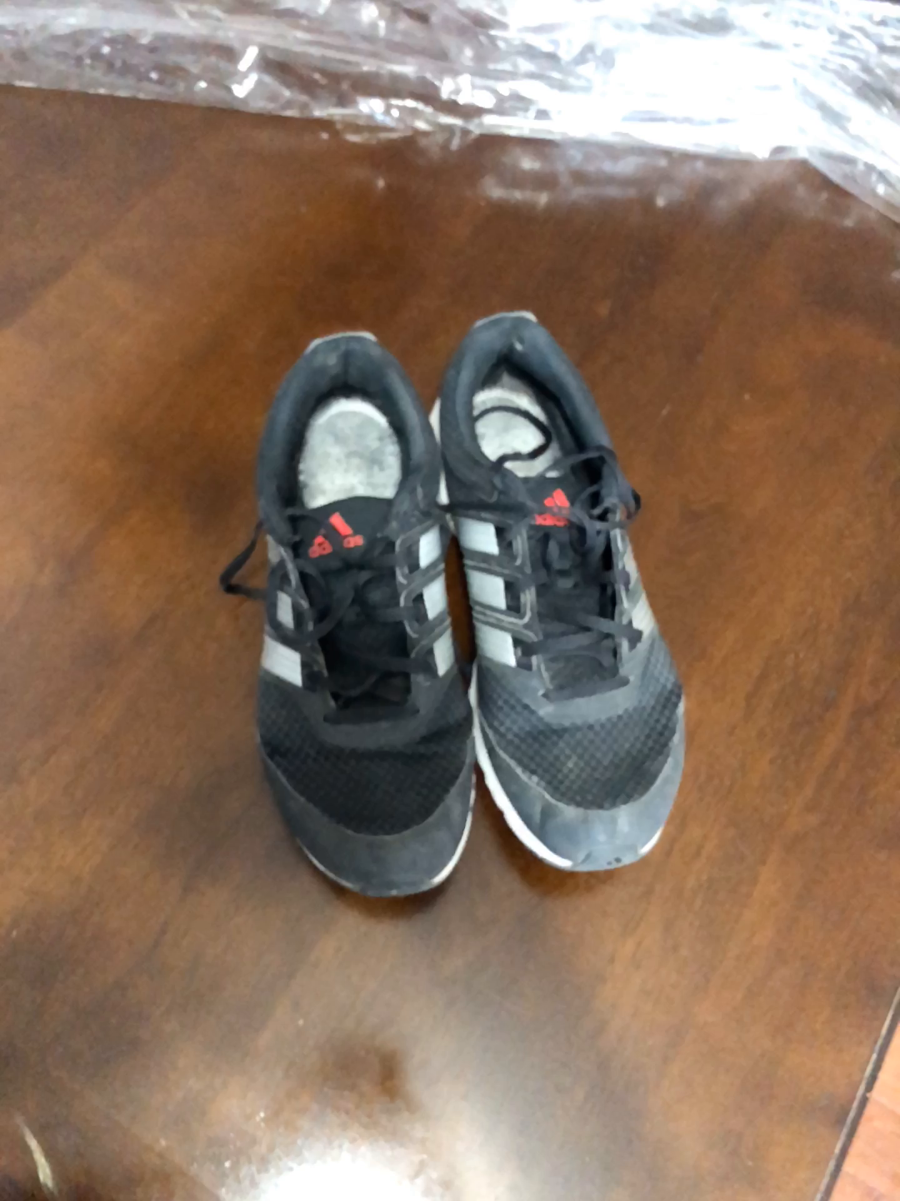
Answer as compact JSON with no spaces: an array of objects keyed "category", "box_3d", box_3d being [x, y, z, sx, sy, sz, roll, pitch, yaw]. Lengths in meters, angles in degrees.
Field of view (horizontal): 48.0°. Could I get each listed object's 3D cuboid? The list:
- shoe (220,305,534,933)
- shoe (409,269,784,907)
[{"category":"shoe","box_3d":[-0.045,0.006,0.520,0.120,0.120,0.290,-5,66,-6]},{"category":"shoe","box_3d":[0.054,-0.009,0.518,0.120,0.130,0.290,-5,66,-6]}]
